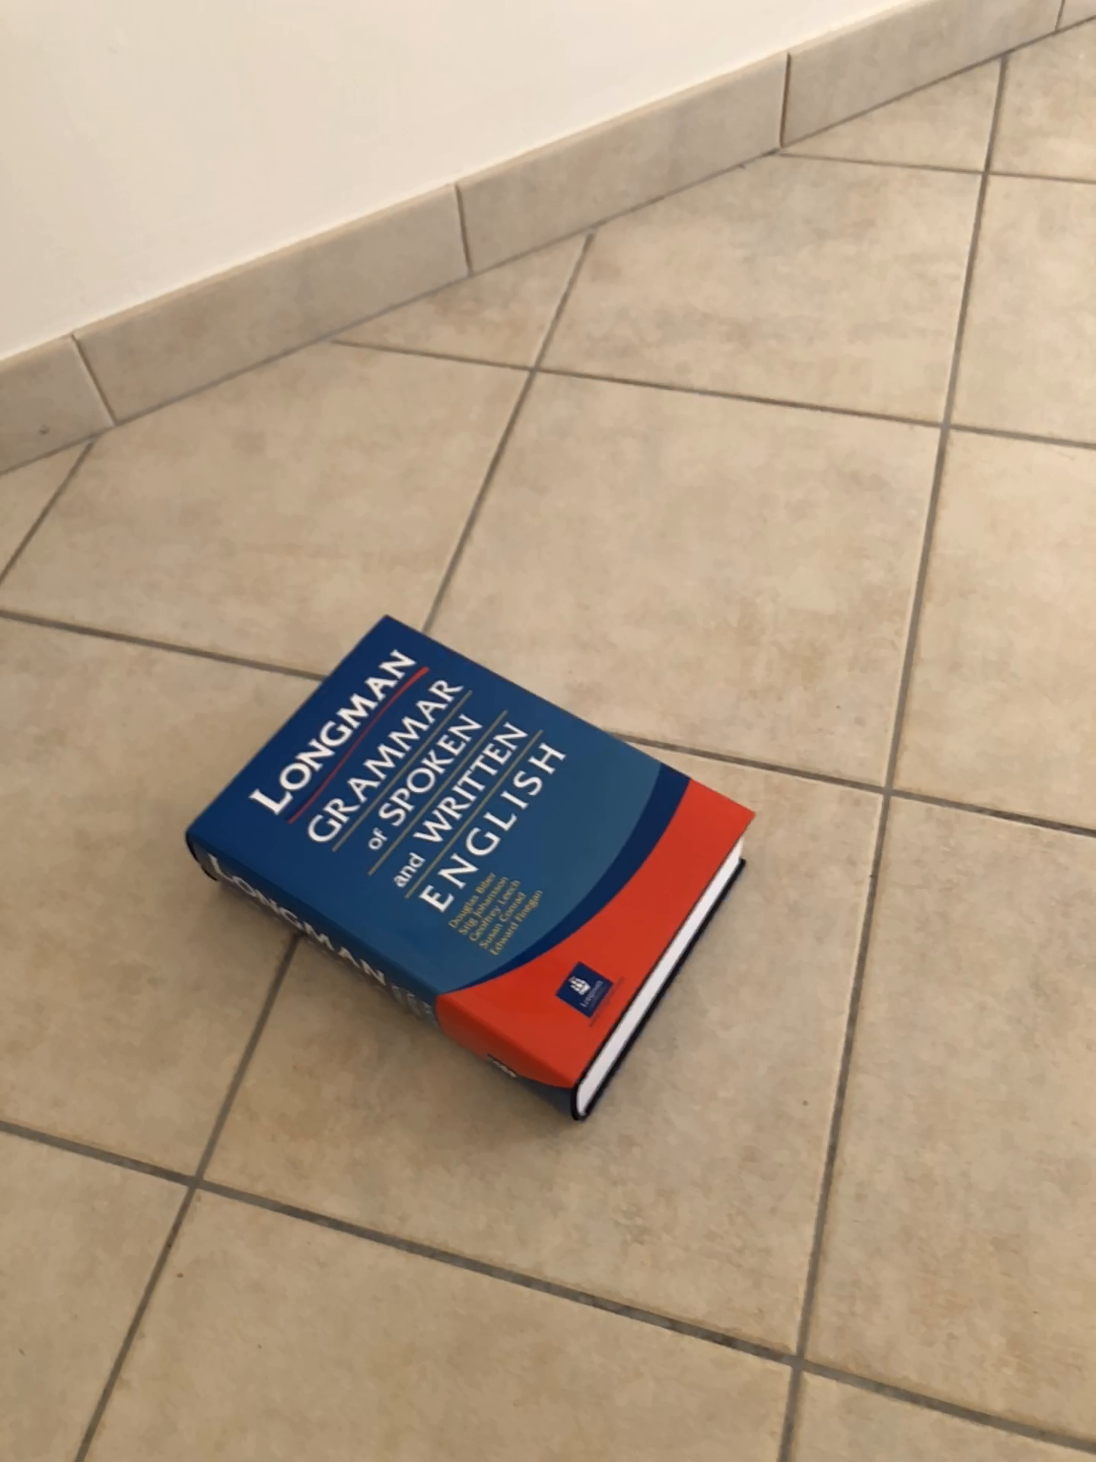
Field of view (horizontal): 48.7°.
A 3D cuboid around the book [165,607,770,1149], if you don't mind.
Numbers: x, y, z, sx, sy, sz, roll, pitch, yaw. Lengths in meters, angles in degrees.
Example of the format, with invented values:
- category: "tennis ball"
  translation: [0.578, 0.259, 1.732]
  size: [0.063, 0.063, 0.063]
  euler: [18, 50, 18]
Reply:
- category: "book"
  translation: [-0.040, 0.065, 0.636]
  size: [0.250, 0.060, 0.178]
  euler: [28, 64, 20]
